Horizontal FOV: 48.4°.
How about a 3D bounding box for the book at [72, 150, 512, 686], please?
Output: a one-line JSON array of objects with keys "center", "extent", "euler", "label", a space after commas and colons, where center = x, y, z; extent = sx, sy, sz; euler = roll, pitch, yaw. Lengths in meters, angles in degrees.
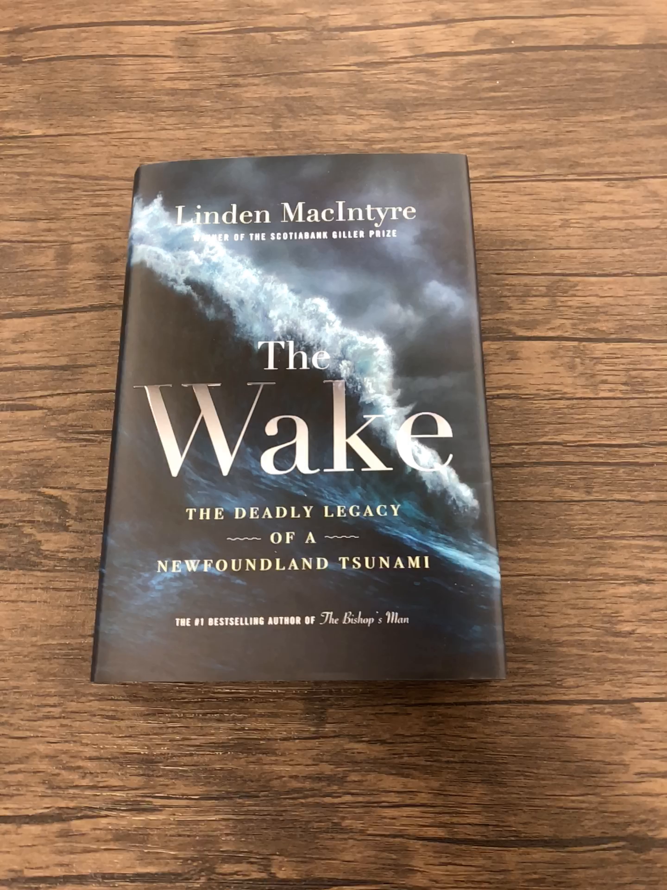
[{"center": [-0.015, -0.016, 0.327], "extent": [0.160, 0.050, 0.230], "euler": [0, 73, 2], "label": "book"}]
